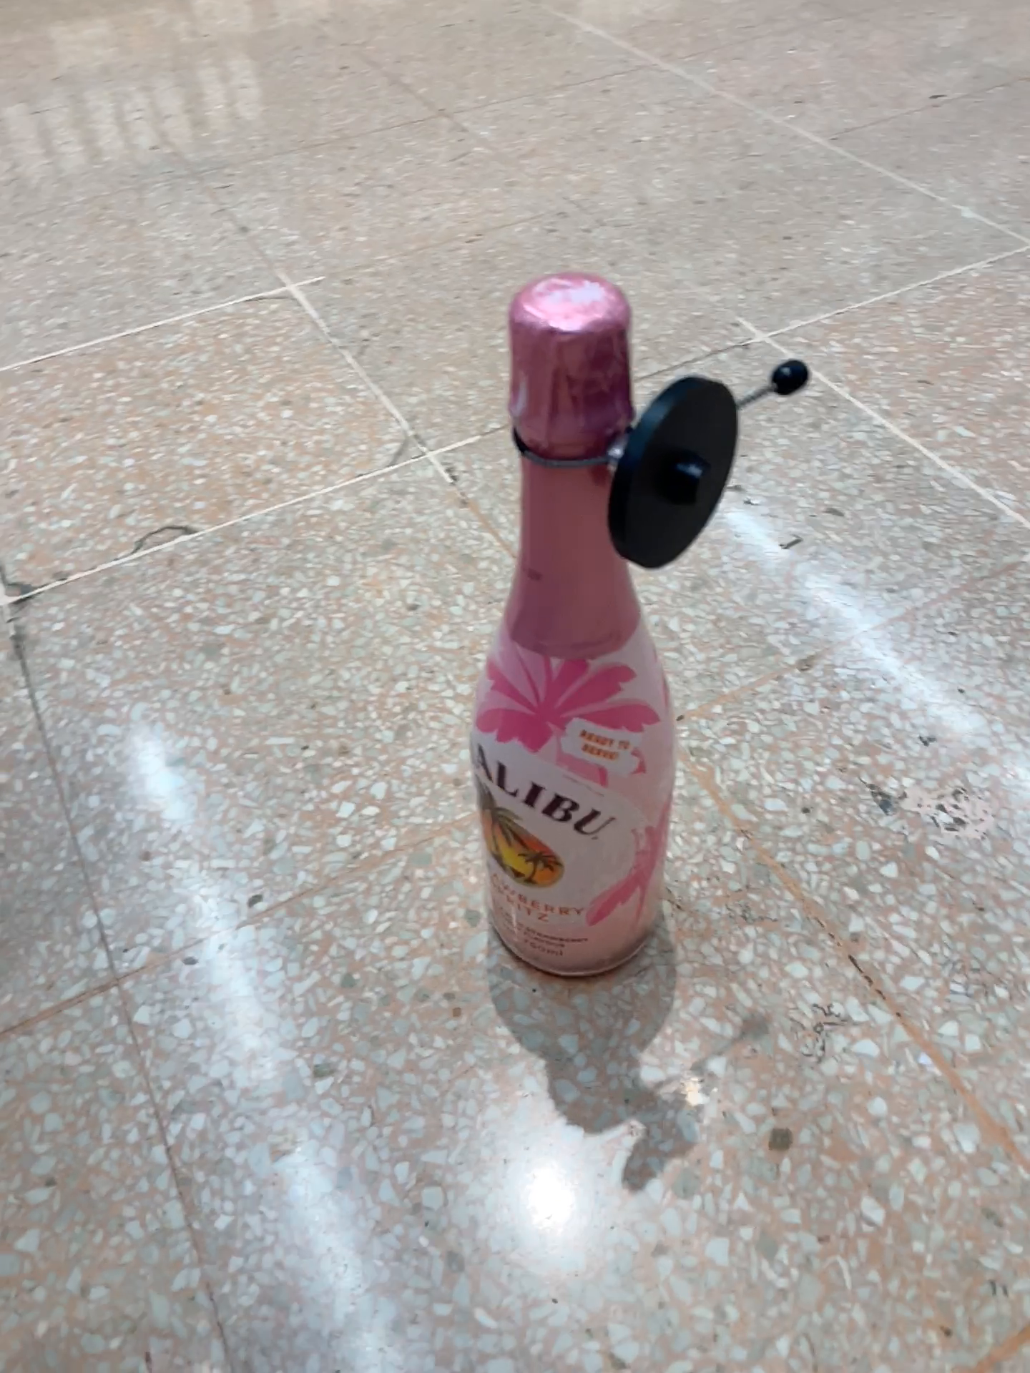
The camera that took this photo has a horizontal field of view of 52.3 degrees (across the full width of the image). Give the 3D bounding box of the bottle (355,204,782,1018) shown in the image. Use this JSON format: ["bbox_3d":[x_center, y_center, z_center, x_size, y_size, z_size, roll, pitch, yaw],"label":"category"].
[{"bbox_3d":[0.021,0.000,0.390,0.080,0.307,0.080,-2,47,2],"label":"bottle"}]
